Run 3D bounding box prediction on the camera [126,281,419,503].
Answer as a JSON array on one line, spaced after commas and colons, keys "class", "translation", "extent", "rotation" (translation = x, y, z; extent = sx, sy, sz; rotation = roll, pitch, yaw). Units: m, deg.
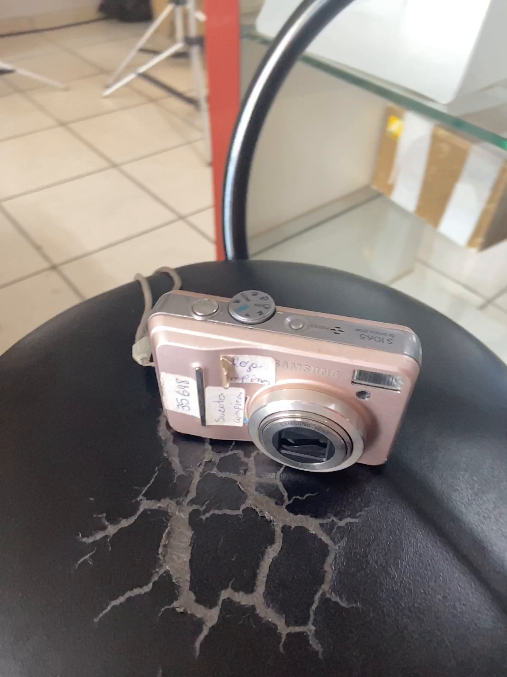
[{"class": "camera", "translation": [0.008, 0.023, 0.217], "extent": [0.100, 0.070, 0.040], "rotation": [8, 44, 7]}]
